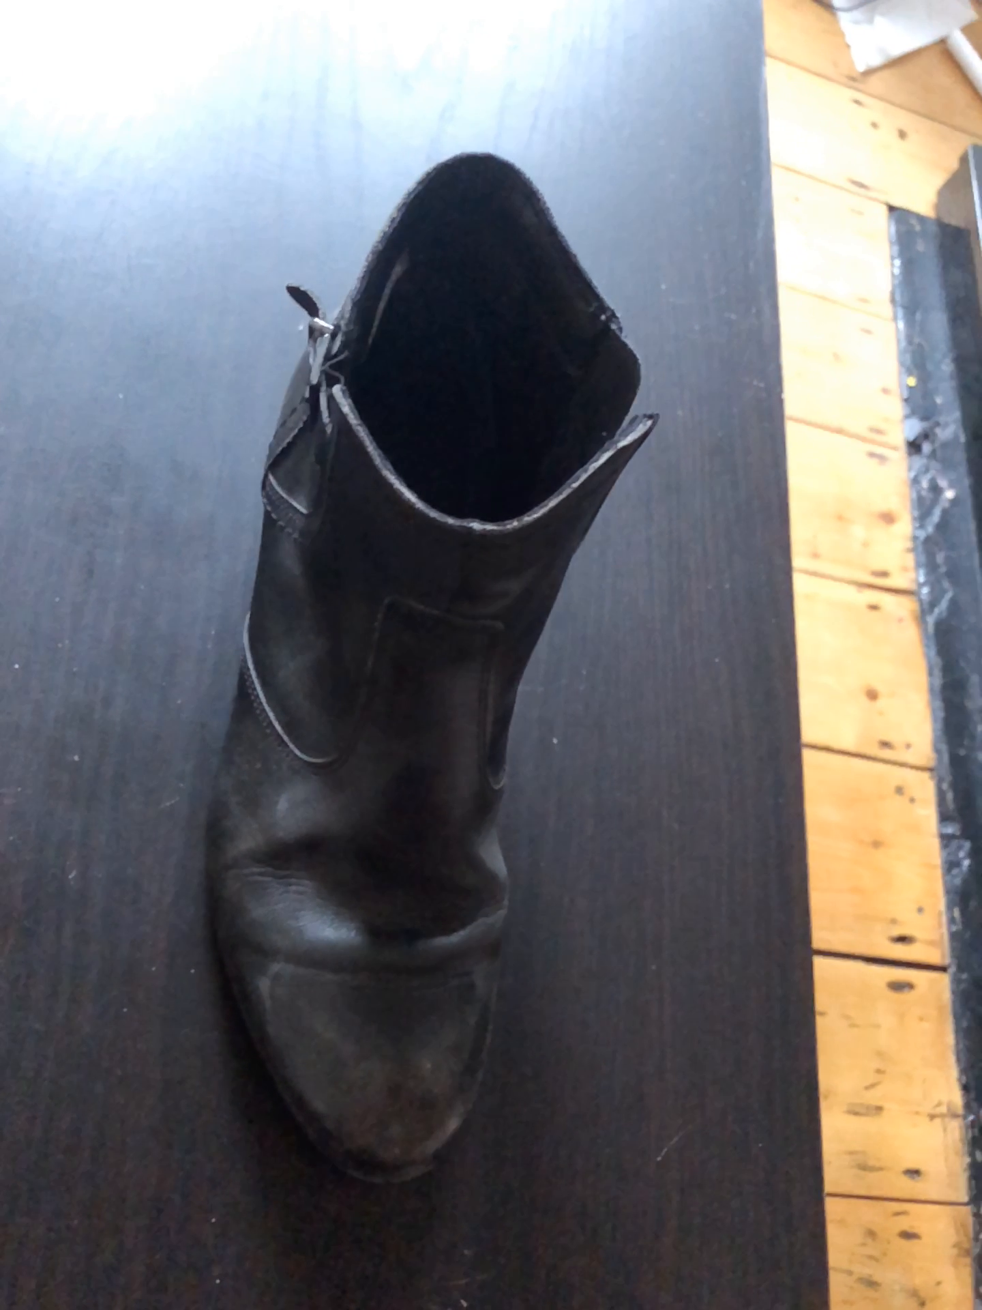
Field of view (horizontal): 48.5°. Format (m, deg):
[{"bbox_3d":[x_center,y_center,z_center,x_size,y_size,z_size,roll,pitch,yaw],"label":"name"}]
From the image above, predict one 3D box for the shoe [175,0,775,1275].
[{"bbox_3d":[-0.023,-0.001,0.297,0.090,0.169,0.271,6,67,-17],"label":"shoe"}]
